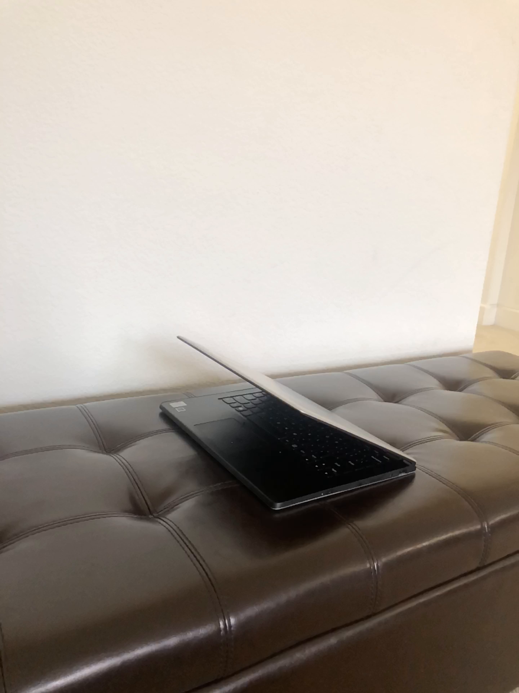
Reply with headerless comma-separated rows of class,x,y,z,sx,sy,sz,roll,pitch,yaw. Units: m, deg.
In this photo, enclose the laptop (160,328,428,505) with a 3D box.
laptop,0.026,0.065,0.734,0.198,0.097,0.294,-6,19,-33
